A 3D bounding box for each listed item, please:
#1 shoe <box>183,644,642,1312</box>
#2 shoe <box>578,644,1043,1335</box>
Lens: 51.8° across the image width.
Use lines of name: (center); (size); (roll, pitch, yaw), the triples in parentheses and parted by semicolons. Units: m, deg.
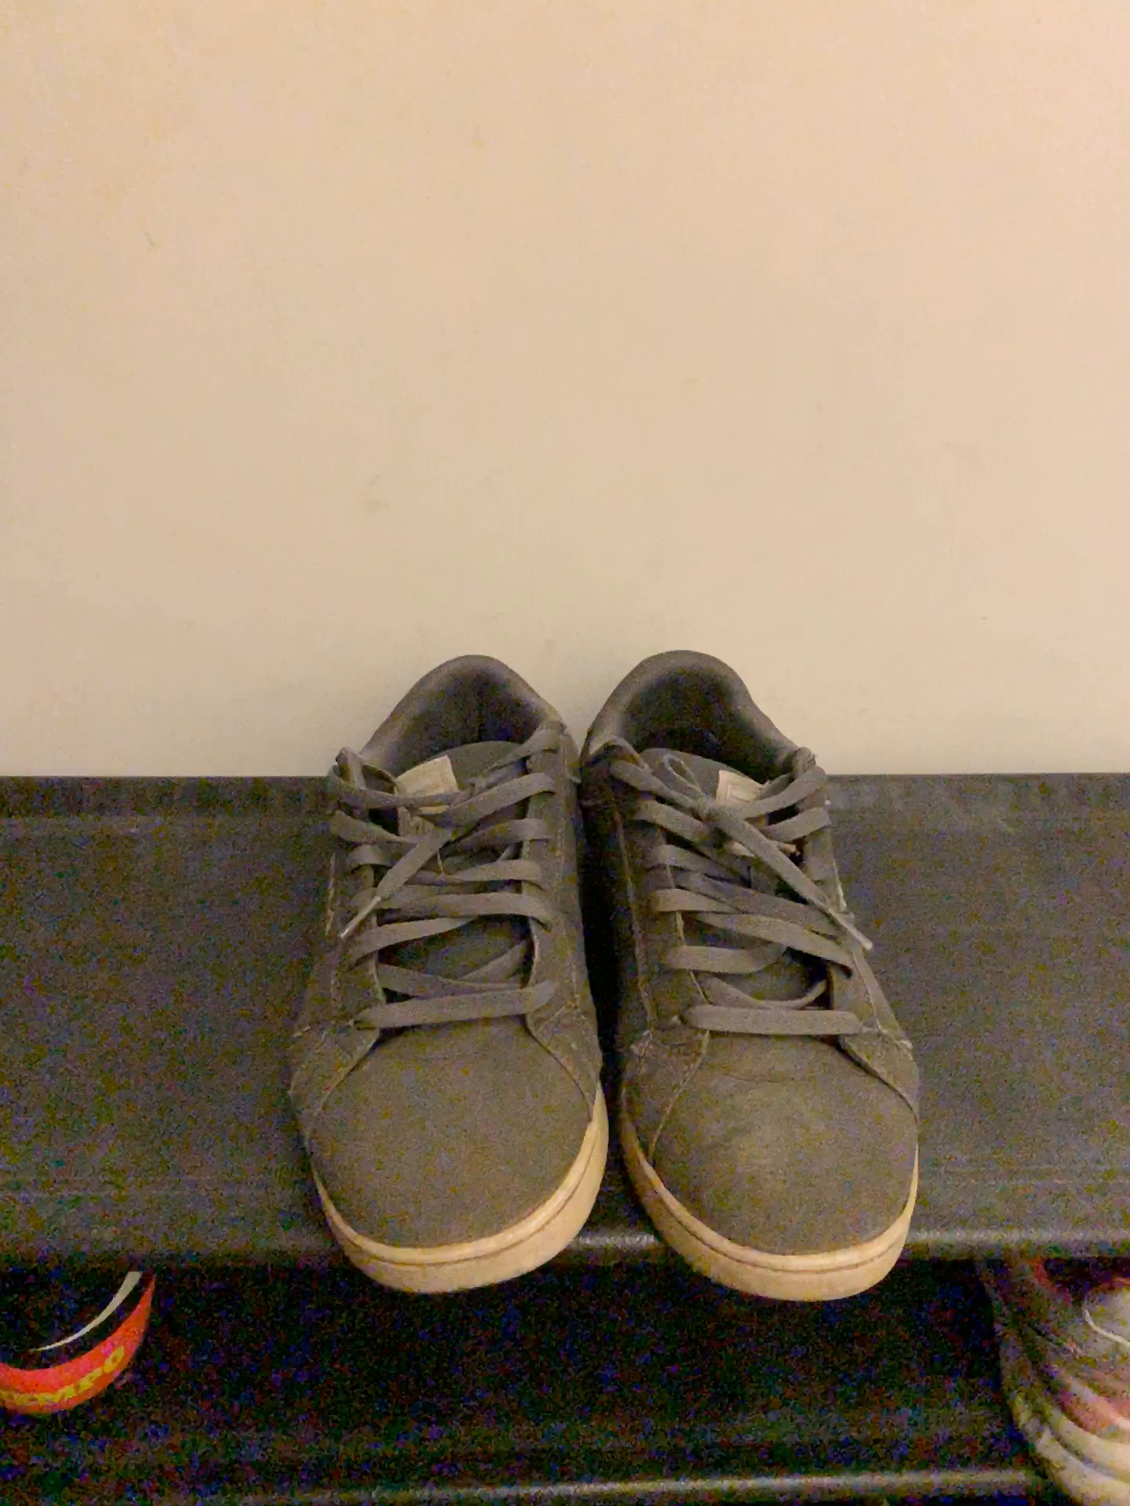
shoe: (-0.040, 0.058, 0.440); (0.120, 0.079, 0.273); (-2, 32, 0)
shoe: (0.069, 0.063, 0.465); (0.120, 0.079, 0.303); (-2, 32, 0)
